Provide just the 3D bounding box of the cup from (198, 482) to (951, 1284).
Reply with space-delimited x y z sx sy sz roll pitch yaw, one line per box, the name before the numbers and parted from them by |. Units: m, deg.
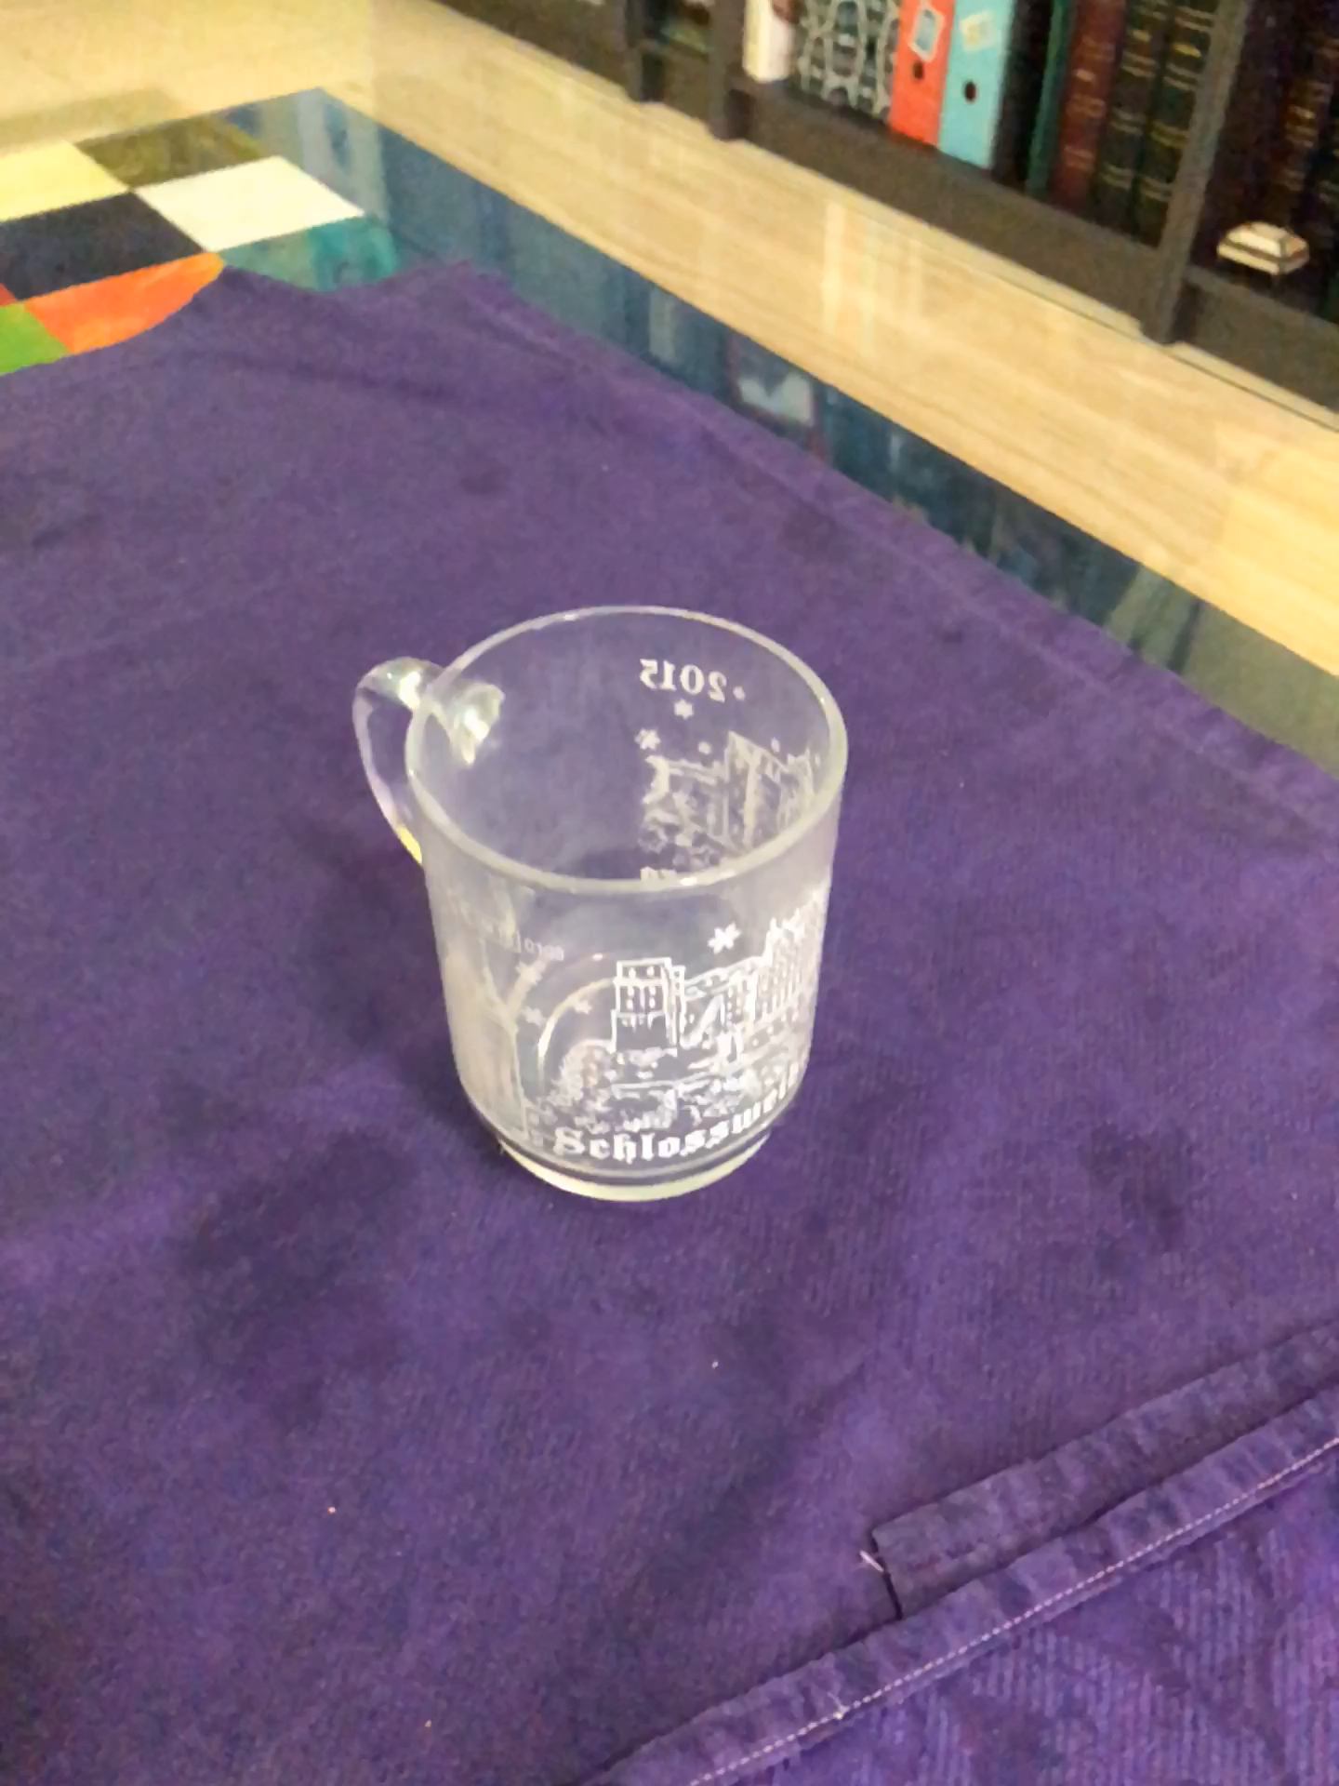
cup | -0.018 -0.006 0.264 0.070 0.080 0.100 -33 54 -31
